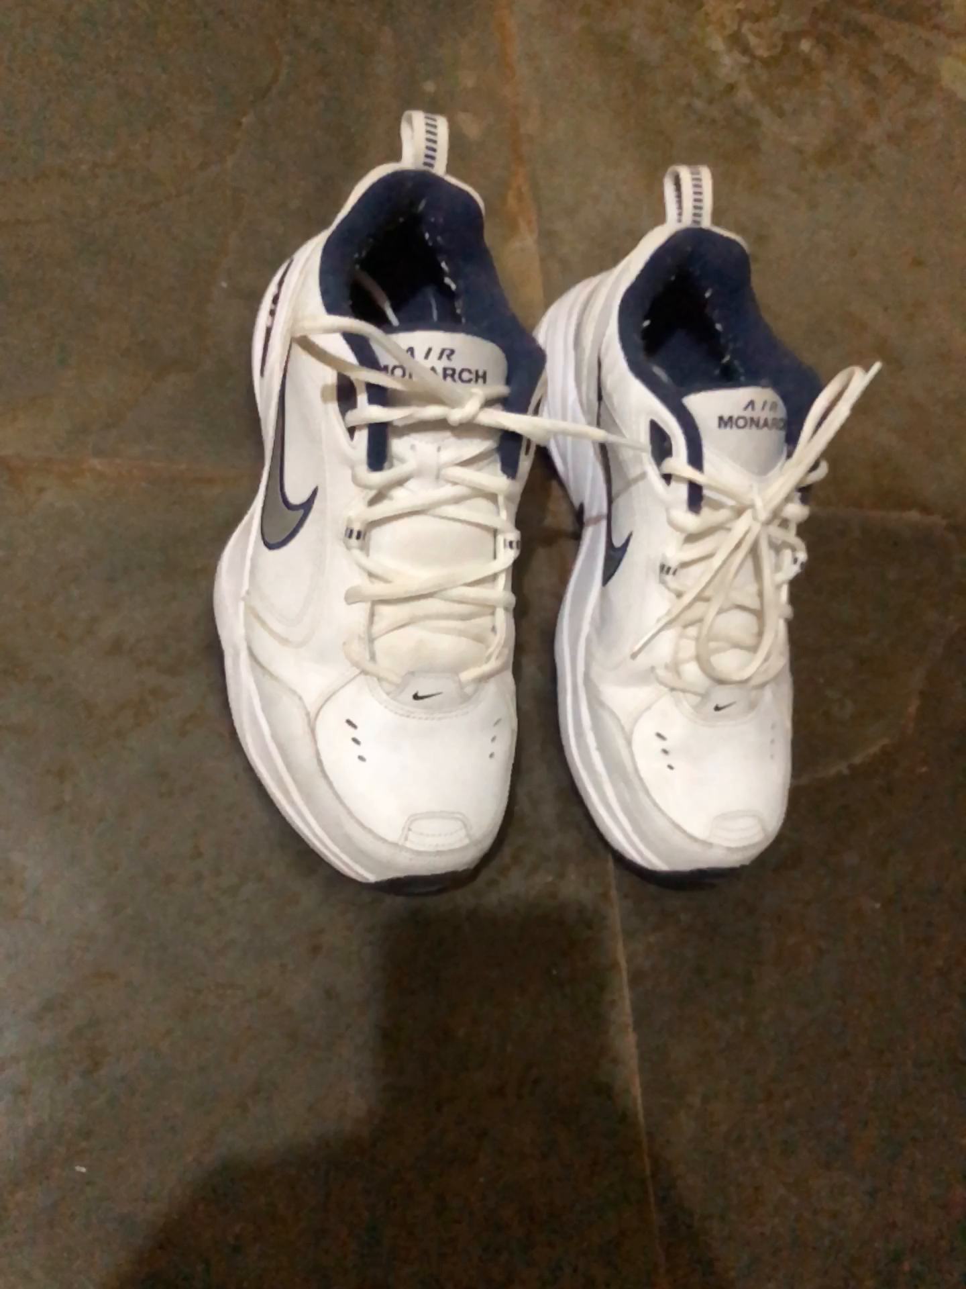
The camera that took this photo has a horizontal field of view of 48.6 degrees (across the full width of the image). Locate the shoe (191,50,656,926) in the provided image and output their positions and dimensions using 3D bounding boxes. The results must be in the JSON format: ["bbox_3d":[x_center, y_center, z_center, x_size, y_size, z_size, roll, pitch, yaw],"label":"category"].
[{"bbox_3d":[-0.042,-0.050,0.436,0.120,0.149,0.301,0,74,-22],"label":"shoe"}]

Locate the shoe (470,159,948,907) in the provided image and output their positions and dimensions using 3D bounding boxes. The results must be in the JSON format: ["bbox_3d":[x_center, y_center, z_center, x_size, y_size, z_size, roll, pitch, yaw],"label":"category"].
[{"bbox_3d":[0.087,-0.040,0.502,0.120,0.149,0.301,2,73,-21],"label":"shoe"}]
